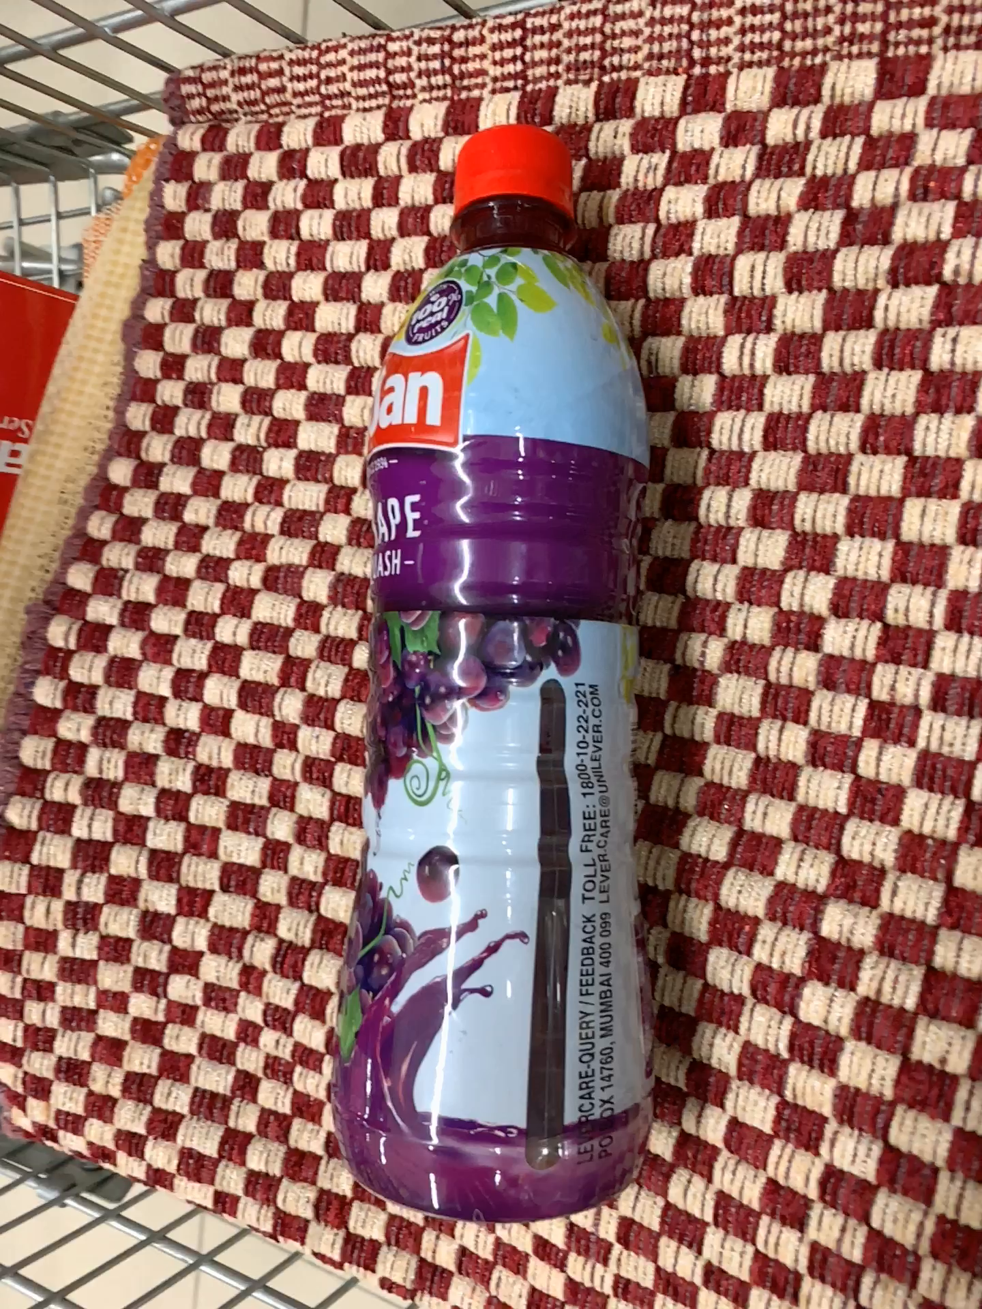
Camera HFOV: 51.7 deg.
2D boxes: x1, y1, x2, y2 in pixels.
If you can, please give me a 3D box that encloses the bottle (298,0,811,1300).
[{"bbox_3d":[0.009,-0.008,0.225,0.080,0.080,0.240,175,97,-71],"label":"bottle"}]
